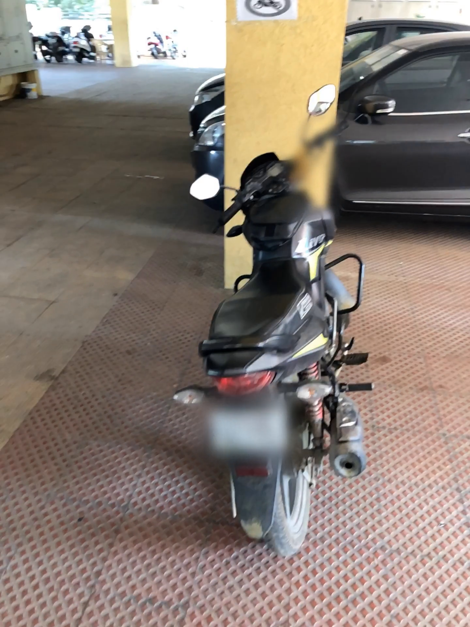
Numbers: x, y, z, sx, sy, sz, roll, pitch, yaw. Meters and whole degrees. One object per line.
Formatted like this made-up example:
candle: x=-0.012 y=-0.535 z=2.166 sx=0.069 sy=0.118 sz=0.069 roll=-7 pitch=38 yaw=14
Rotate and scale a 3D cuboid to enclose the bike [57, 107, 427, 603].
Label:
bike: x=0.144 y=-0.062 z=1.956 sx=0.716 sy=1.089 sz=1.628 roll=6 pitch=31 yaw=9
